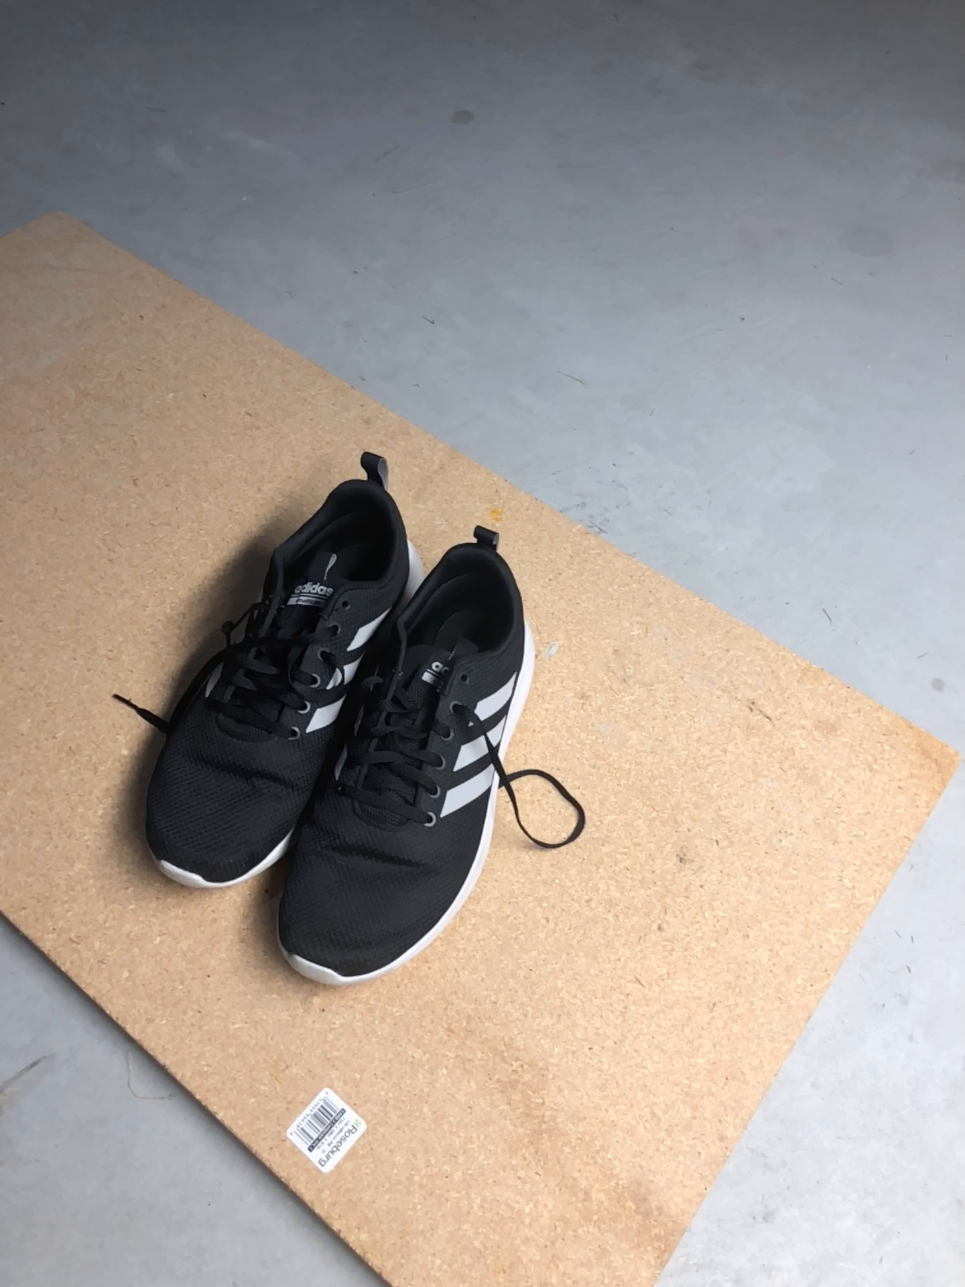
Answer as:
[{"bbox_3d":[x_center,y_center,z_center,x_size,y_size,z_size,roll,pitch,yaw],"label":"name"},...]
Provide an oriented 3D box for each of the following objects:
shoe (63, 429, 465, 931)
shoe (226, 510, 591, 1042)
[{"bbox_3d":[-0.124,0.011,0.676,0.110,0.090,0.300,23,56,4],"label":"shoe"},{"bbox_3d":[-0.037,0.069,0.657,0.110,0.090,0.300,22,56,3],"label":"shoe"}]
